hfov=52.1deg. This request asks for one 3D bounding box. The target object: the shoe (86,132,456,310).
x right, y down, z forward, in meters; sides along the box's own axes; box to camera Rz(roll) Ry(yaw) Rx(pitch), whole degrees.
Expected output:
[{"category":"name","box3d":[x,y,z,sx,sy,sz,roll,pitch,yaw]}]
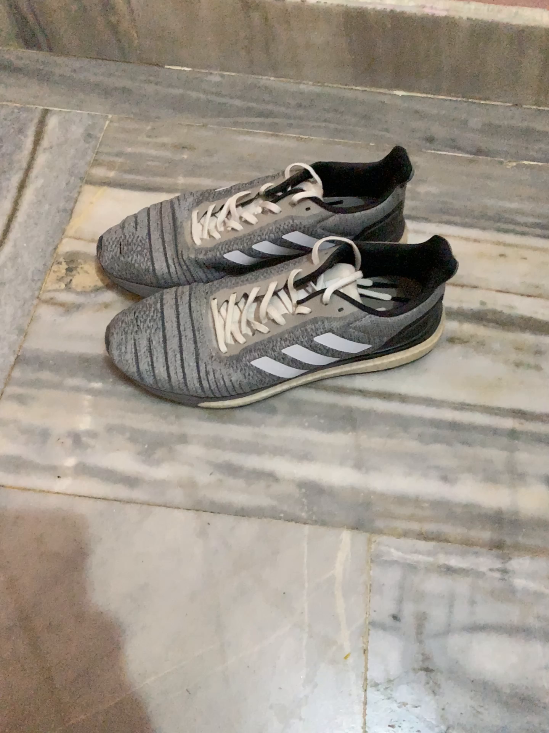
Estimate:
[{"category":"shoe","box3d":[-0.007,-0.137,0.525,0.310,0.080,0.110,-7,62,-7]}]

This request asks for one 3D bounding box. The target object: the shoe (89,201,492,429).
[{"category":"shoe","box3d":[0.009,-0.047,0.484,0.300,0.090,0.120,-10,63,-8]}]
